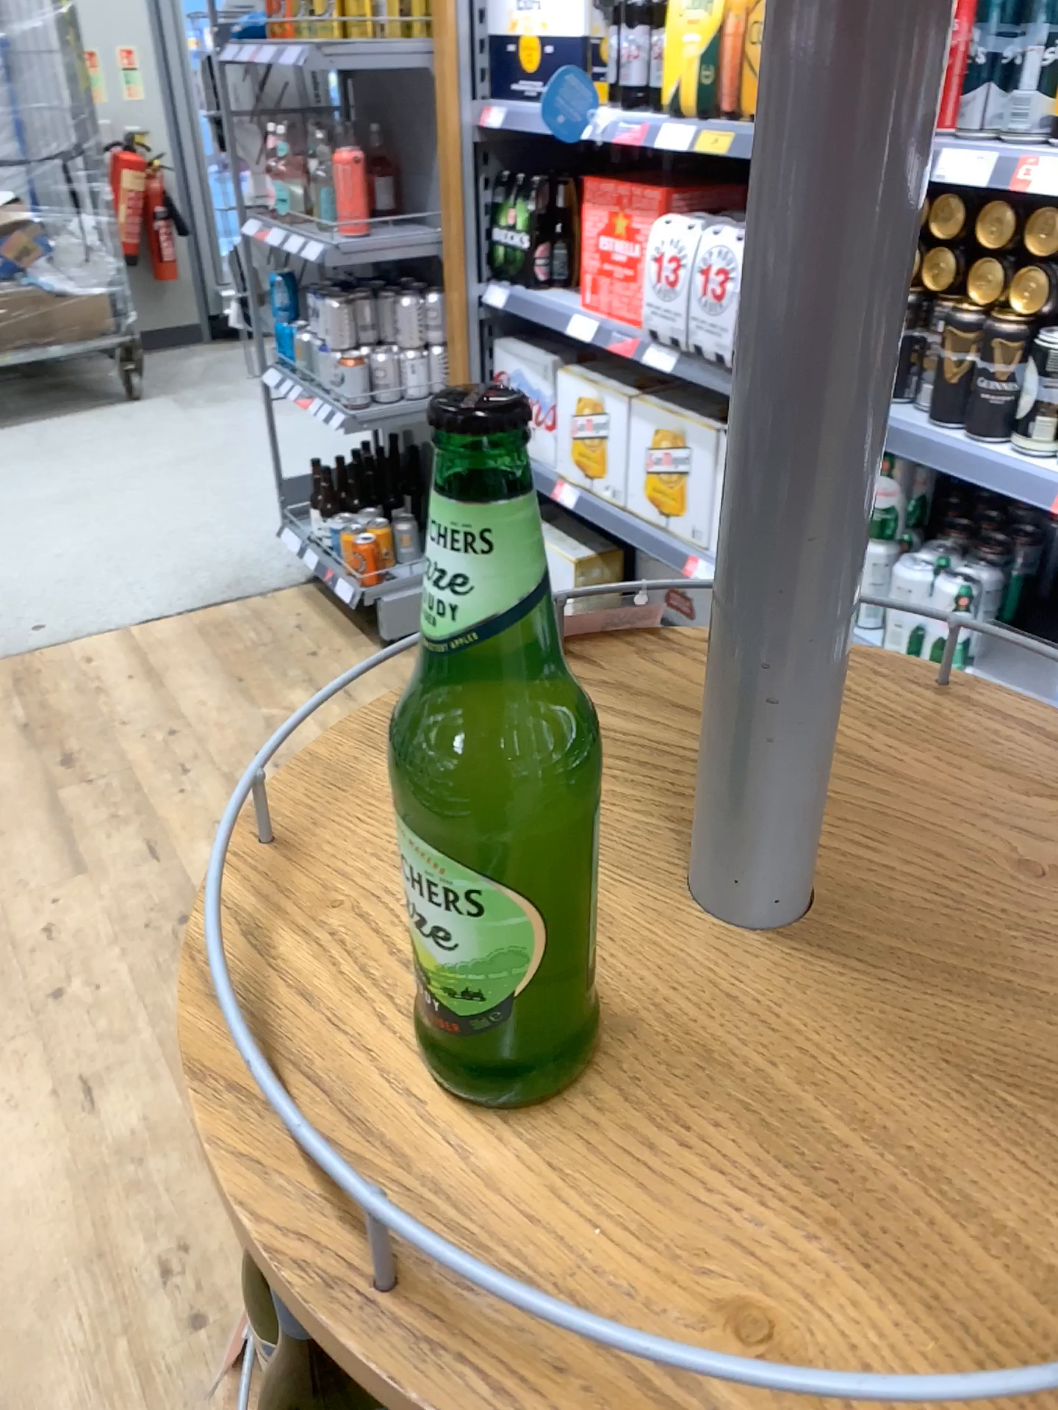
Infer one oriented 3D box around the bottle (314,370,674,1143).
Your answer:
[{"bbox_3d":[-0.010,0.025,0.354,0.078,0.240,0.070,-12,33,-17],"label":"bottle"}]
